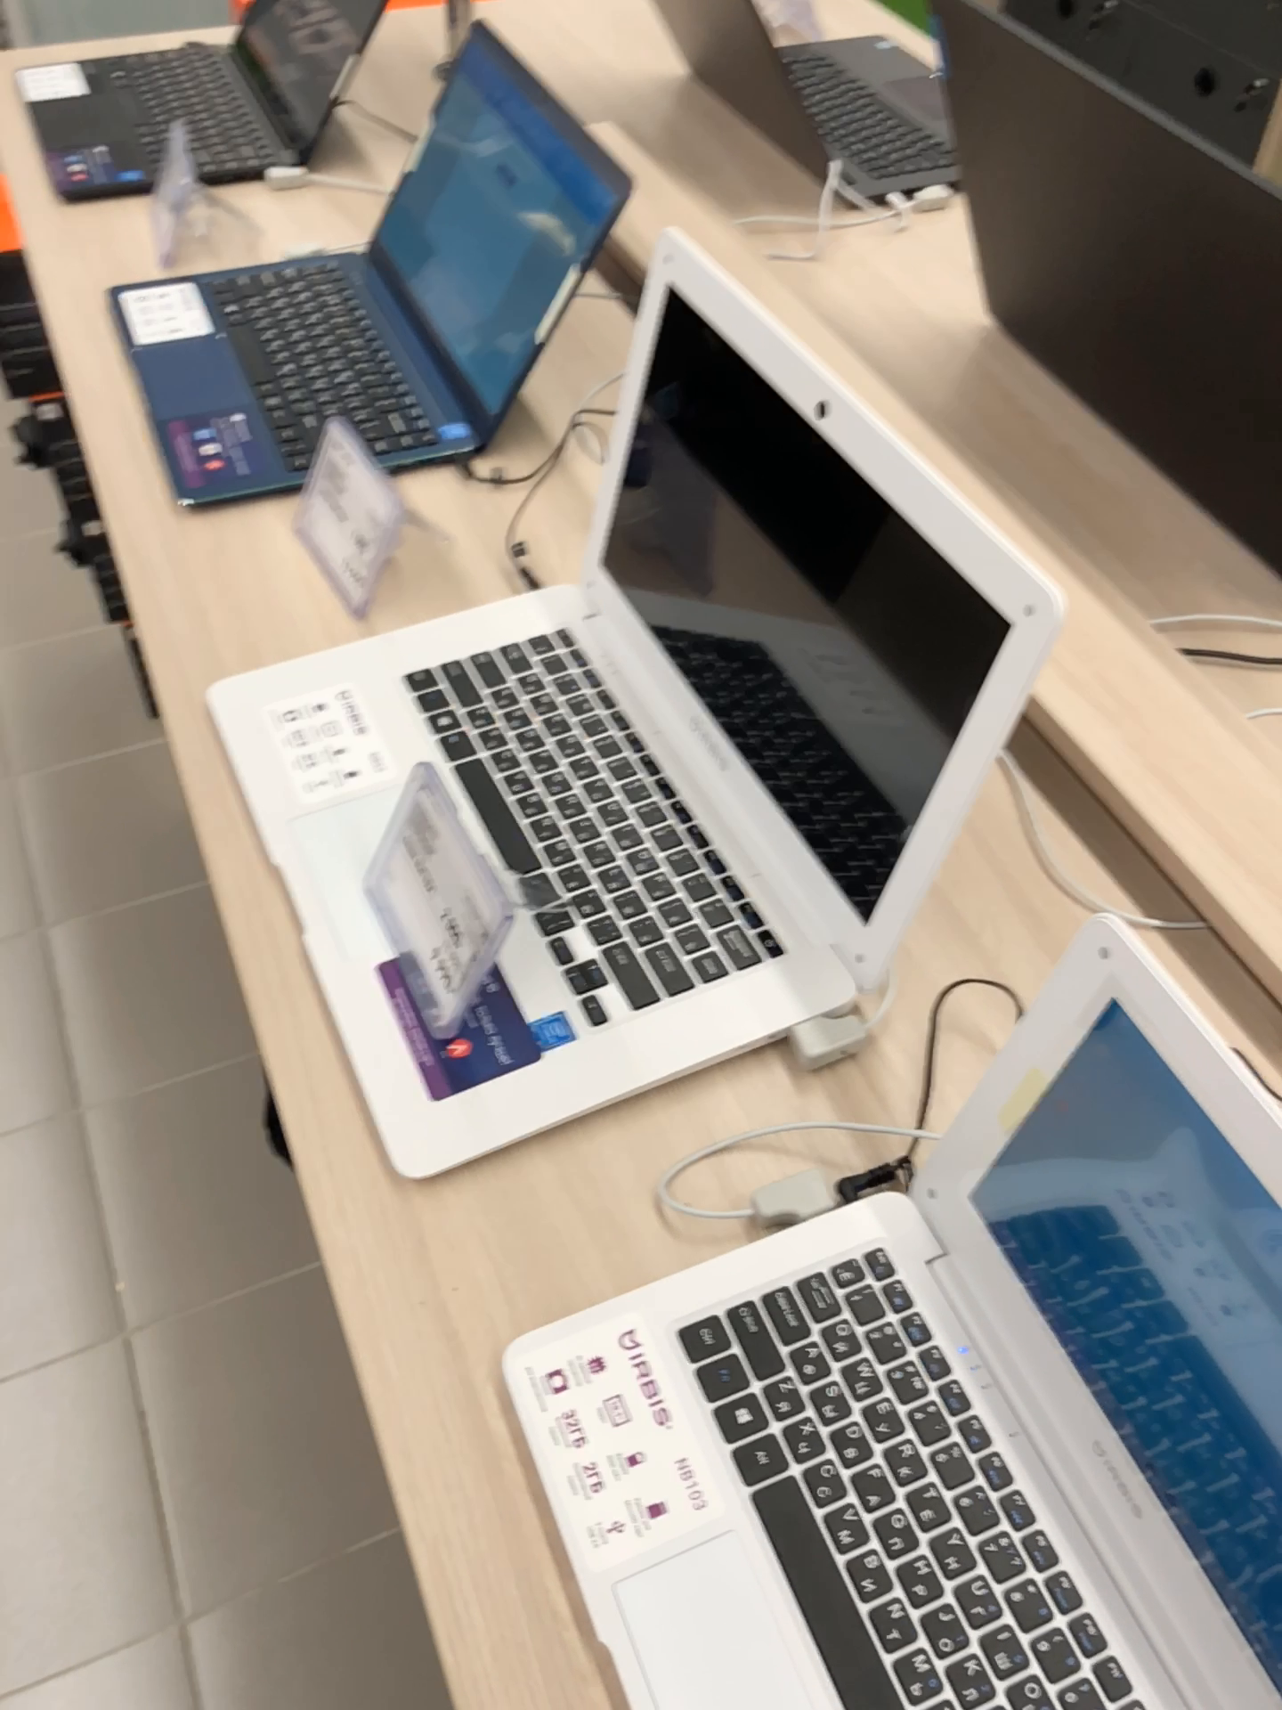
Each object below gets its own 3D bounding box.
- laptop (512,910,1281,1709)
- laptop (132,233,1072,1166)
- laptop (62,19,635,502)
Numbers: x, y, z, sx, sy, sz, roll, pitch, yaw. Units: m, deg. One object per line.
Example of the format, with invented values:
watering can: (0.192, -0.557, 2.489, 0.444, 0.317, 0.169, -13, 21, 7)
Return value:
laptop: (0.107, 0.195, 0.430, 0.221, 0.167, 0.260, -16, 49, -16)
laptop: (-0.039, -0.095, 0.666, 0.279, 0.207, 0.335, -19, 51, -17)
laptop: (-0.206, -0.432, 0.996, 0.310, 0.158, 0.299, -17, 51, -16)
